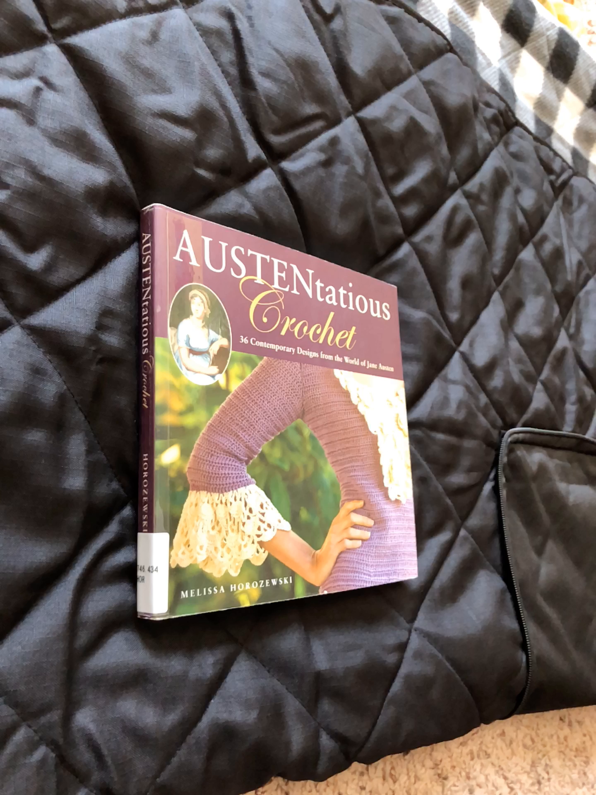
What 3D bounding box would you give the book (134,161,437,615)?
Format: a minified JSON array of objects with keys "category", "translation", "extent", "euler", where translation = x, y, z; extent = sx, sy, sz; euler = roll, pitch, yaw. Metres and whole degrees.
[{"category":"book","translation":[0.003,-0.001,0.411],"extent":[0.221,0.020,0.230],"euler":[7,76,-43]}]
